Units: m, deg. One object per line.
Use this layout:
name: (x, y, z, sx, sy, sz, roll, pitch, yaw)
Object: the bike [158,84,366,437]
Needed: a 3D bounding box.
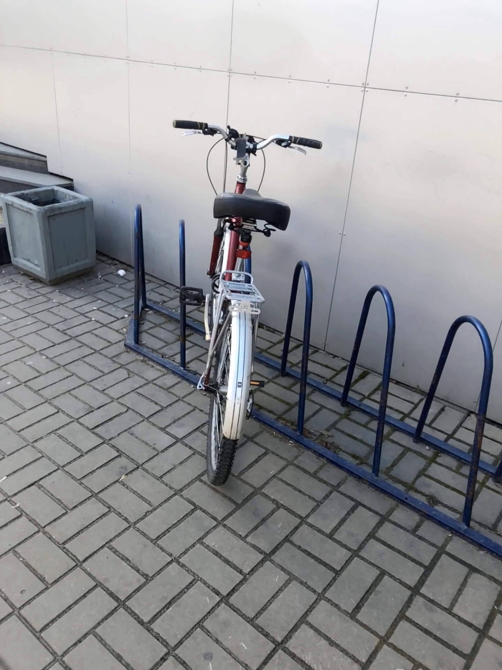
bike: (0.013, -0.415, 2.332, 0.595, 0.972, 1.313, 3, 30, -2)
